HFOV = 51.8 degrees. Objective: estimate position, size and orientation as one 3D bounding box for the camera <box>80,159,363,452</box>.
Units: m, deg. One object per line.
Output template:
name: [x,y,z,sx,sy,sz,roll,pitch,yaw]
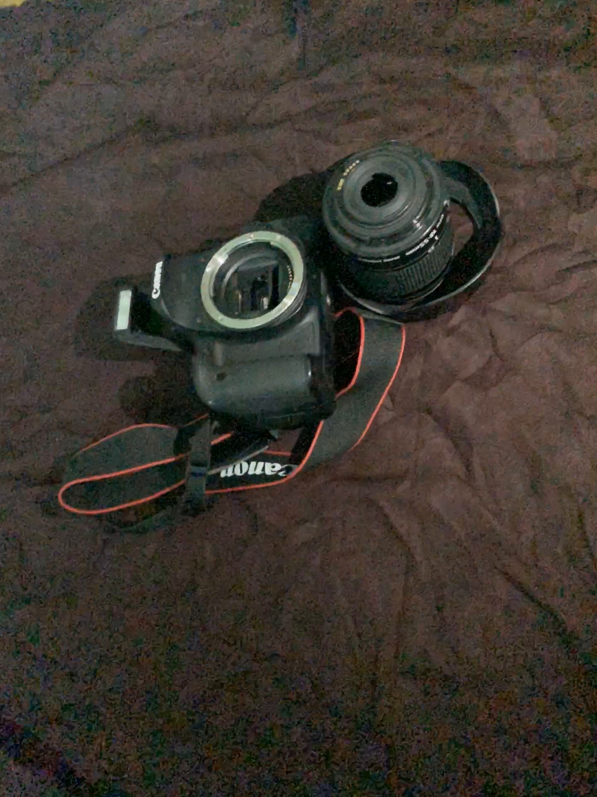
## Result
camera: [-0.043,-0.055,0.401,0.150,0.082,0.147,-7,64,13]
